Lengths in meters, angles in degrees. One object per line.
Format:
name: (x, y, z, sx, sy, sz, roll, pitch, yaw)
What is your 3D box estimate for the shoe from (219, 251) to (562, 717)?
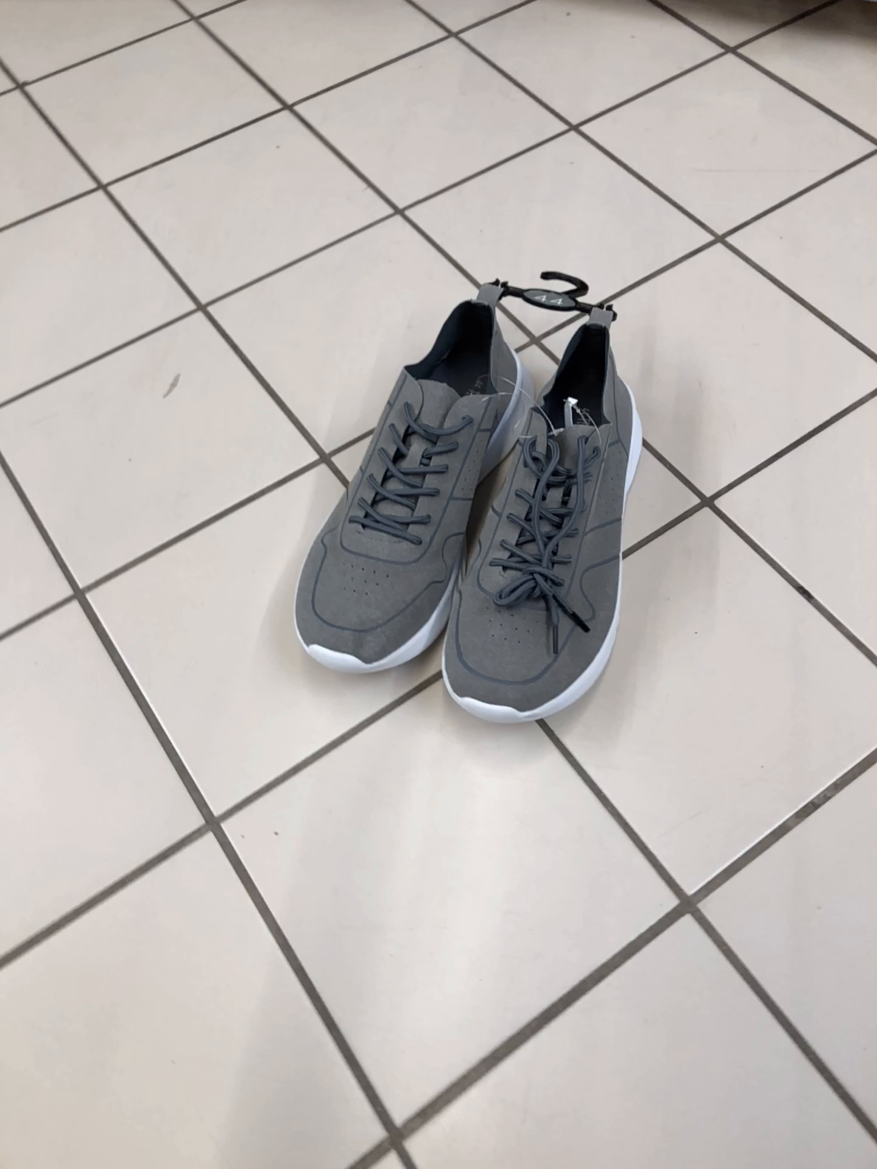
shoe: (-0.017, -0.076, 0.638, 0.110, 0.100, 0.291, 17, 61, 13)

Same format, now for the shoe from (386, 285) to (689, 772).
shoe: (0.071, -0.046, 0.615, 0.110, 0.100, 0.291, 14, 60, 11)
